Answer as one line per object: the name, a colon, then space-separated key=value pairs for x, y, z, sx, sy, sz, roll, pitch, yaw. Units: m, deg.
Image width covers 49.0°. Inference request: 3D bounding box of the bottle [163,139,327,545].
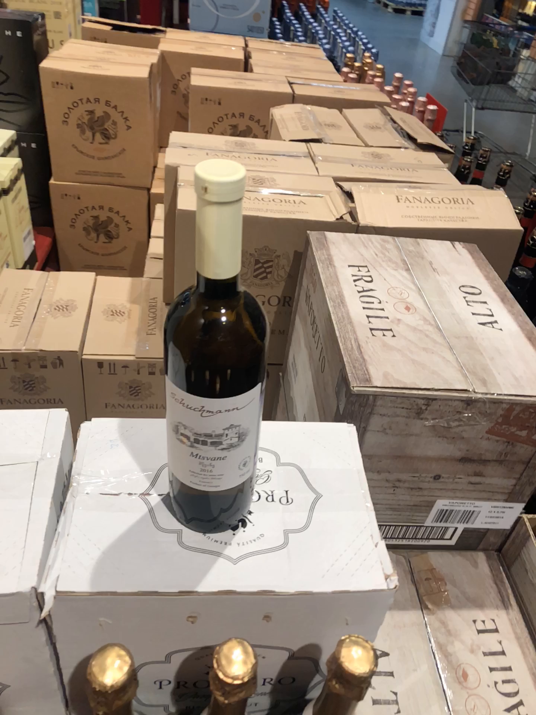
bottle: x=-0.025 y=0.008 z=0.417 sx=0.080 sy=0.288 sz=0.073 roll=5 pitch=37 yaw=-4
